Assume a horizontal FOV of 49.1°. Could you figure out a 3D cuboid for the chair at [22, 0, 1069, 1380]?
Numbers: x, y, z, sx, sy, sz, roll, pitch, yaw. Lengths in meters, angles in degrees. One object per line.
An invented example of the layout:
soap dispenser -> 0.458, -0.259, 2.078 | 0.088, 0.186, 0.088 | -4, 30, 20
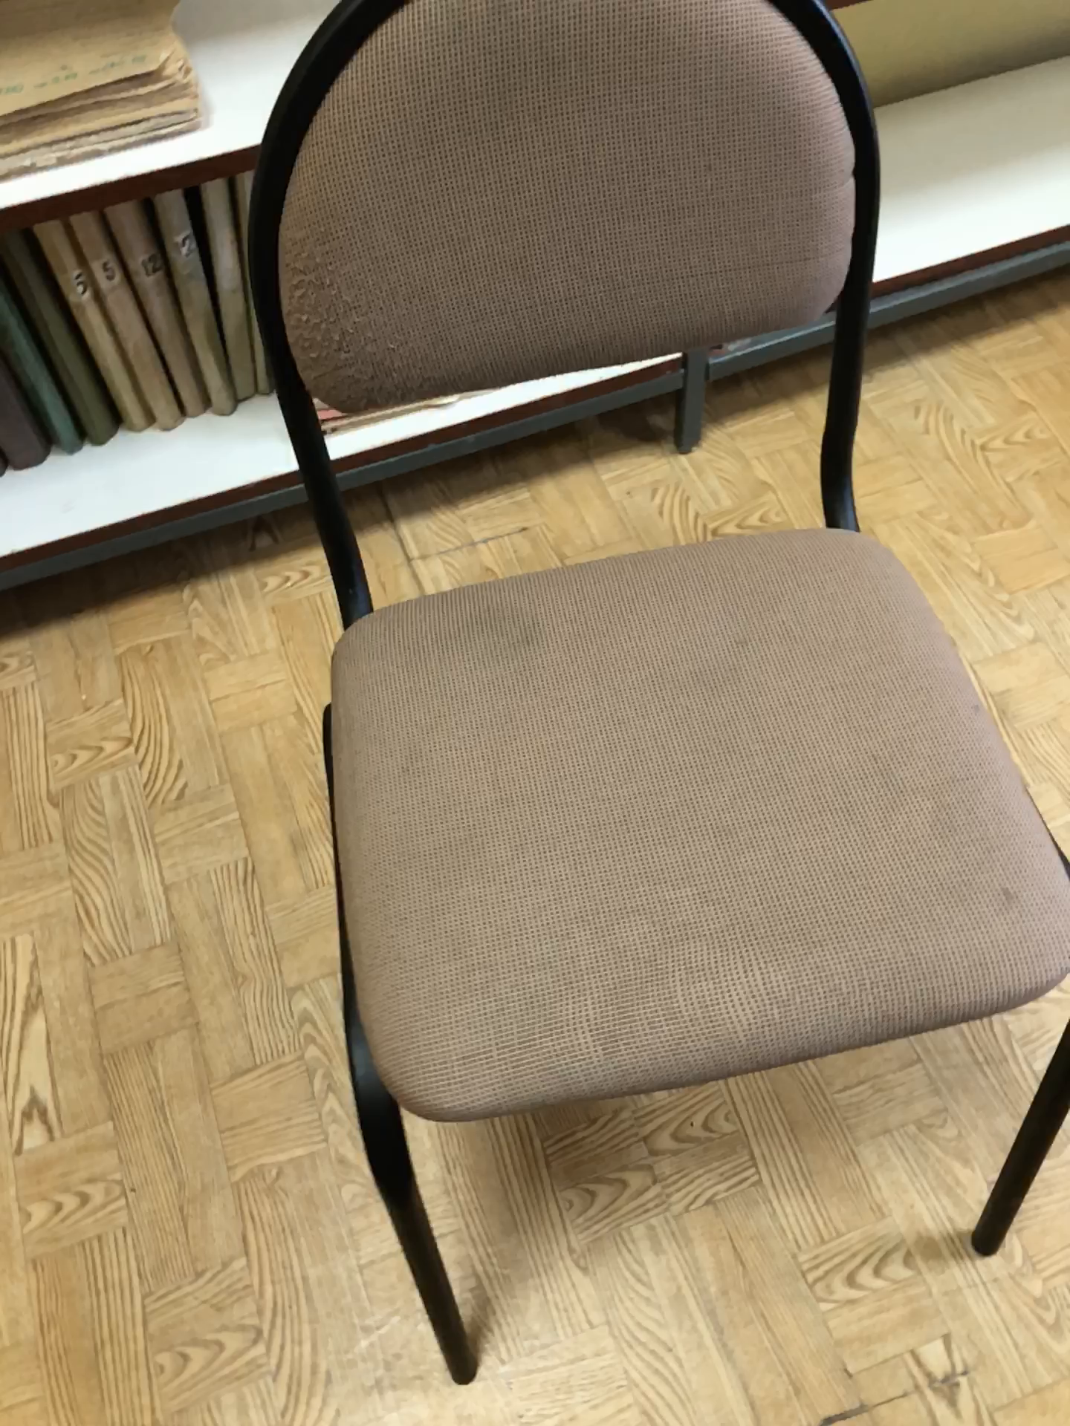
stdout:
chair -> 0.088, 0.030, 0.745 | 0.478, 0.768, 0.576 | -11, 58, -3
